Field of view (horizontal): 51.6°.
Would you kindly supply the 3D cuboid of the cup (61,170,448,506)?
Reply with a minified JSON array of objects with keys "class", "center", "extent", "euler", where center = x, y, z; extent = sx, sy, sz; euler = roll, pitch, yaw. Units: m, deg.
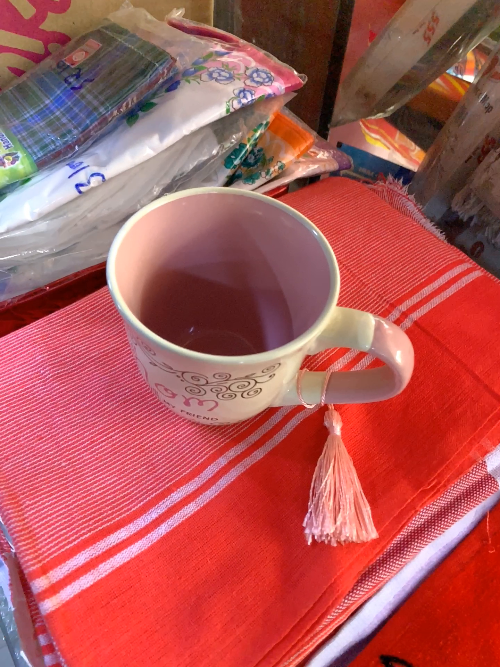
[{"class":"cup","center":[0.007,0.001,0.234],"extent":[0.130,0.080,0.094],"euler":[15,54,8]}]
